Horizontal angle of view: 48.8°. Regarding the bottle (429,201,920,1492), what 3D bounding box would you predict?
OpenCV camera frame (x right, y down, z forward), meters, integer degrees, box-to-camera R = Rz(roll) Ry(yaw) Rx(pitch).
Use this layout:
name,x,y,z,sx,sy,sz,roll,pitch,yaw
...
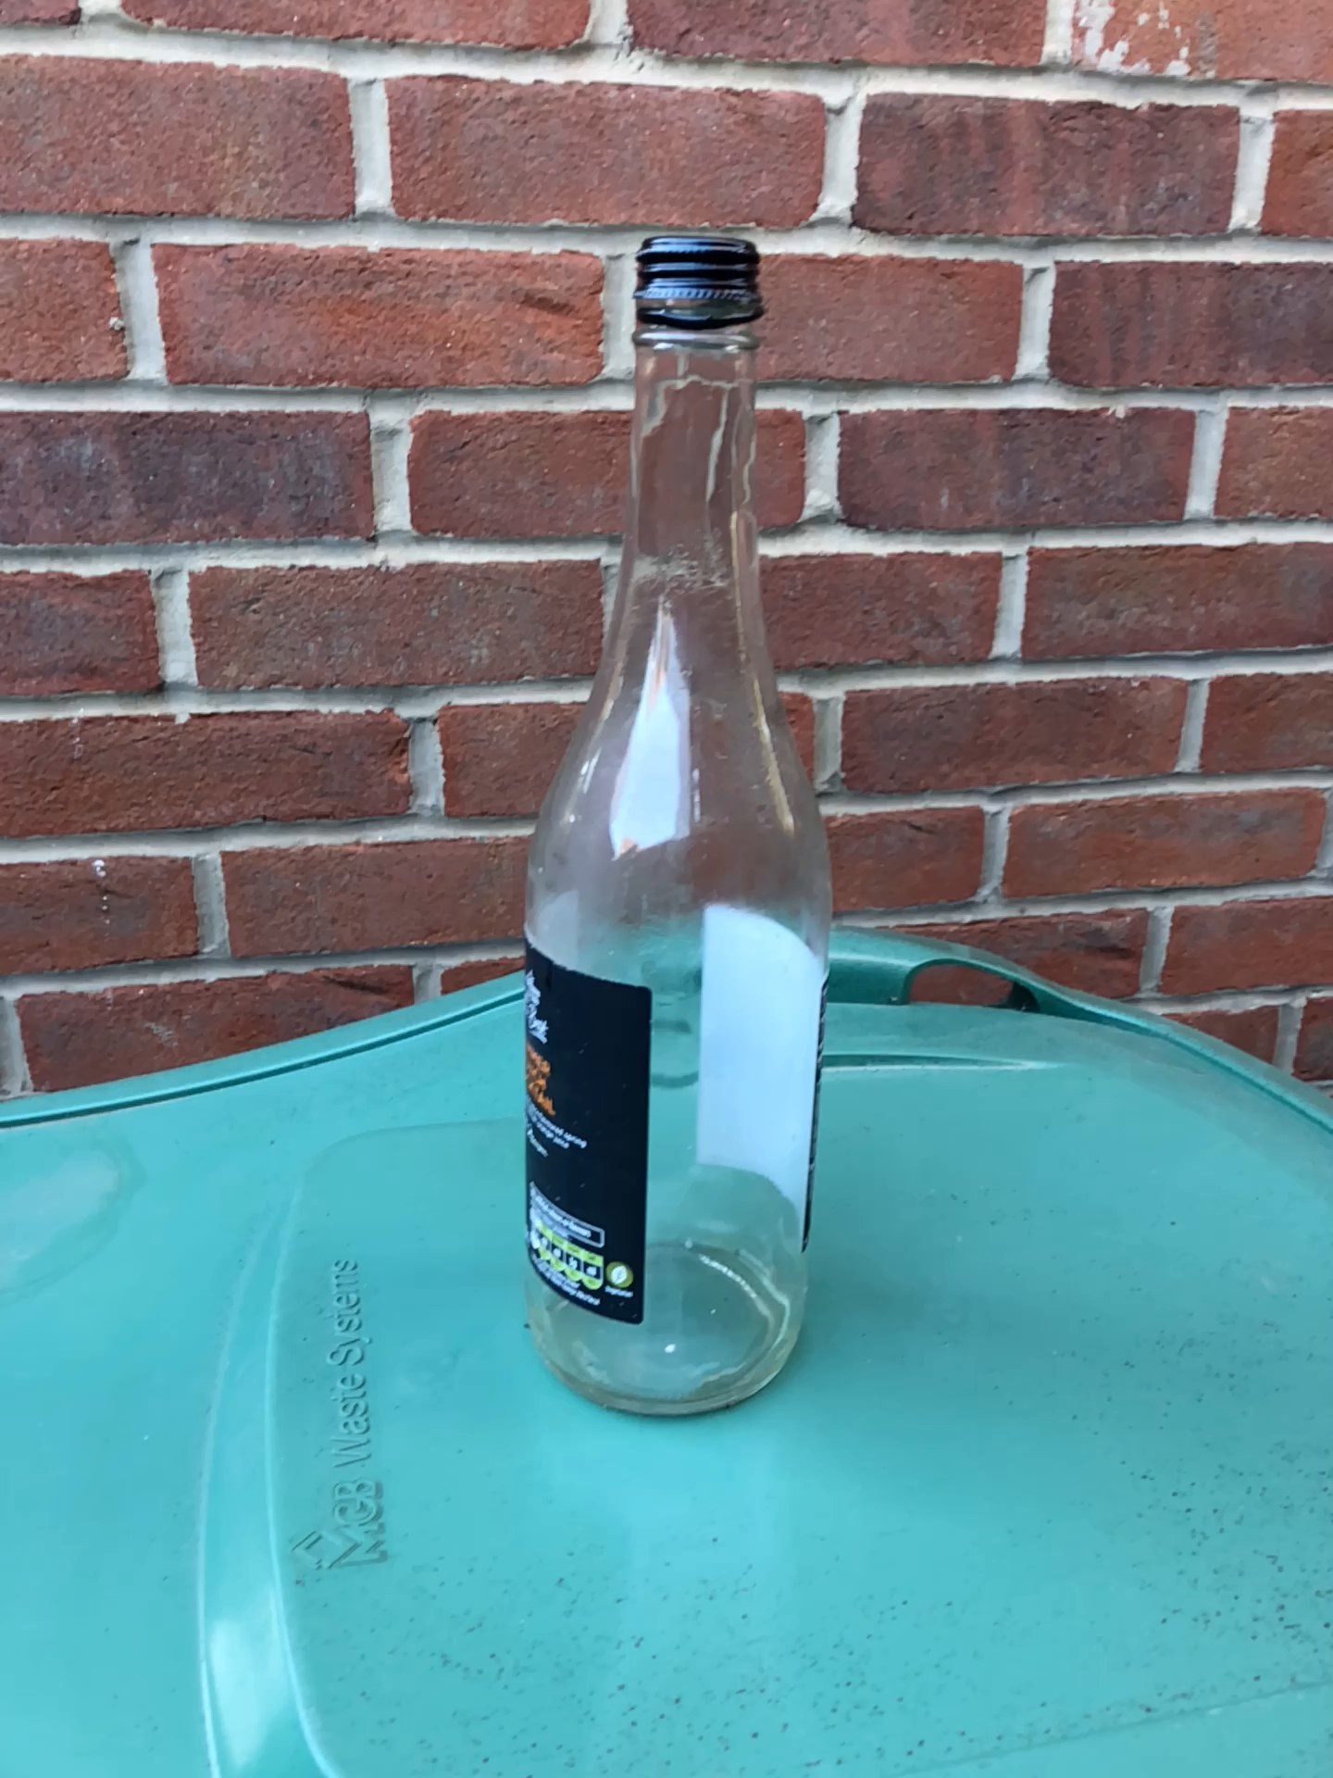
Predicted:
name,x,y,z,sx,sy,sz,roll,pitch,yaw
bottle,-0.004,-0.007,0.364,0.080,0.288,0.090,-6,21,-18
